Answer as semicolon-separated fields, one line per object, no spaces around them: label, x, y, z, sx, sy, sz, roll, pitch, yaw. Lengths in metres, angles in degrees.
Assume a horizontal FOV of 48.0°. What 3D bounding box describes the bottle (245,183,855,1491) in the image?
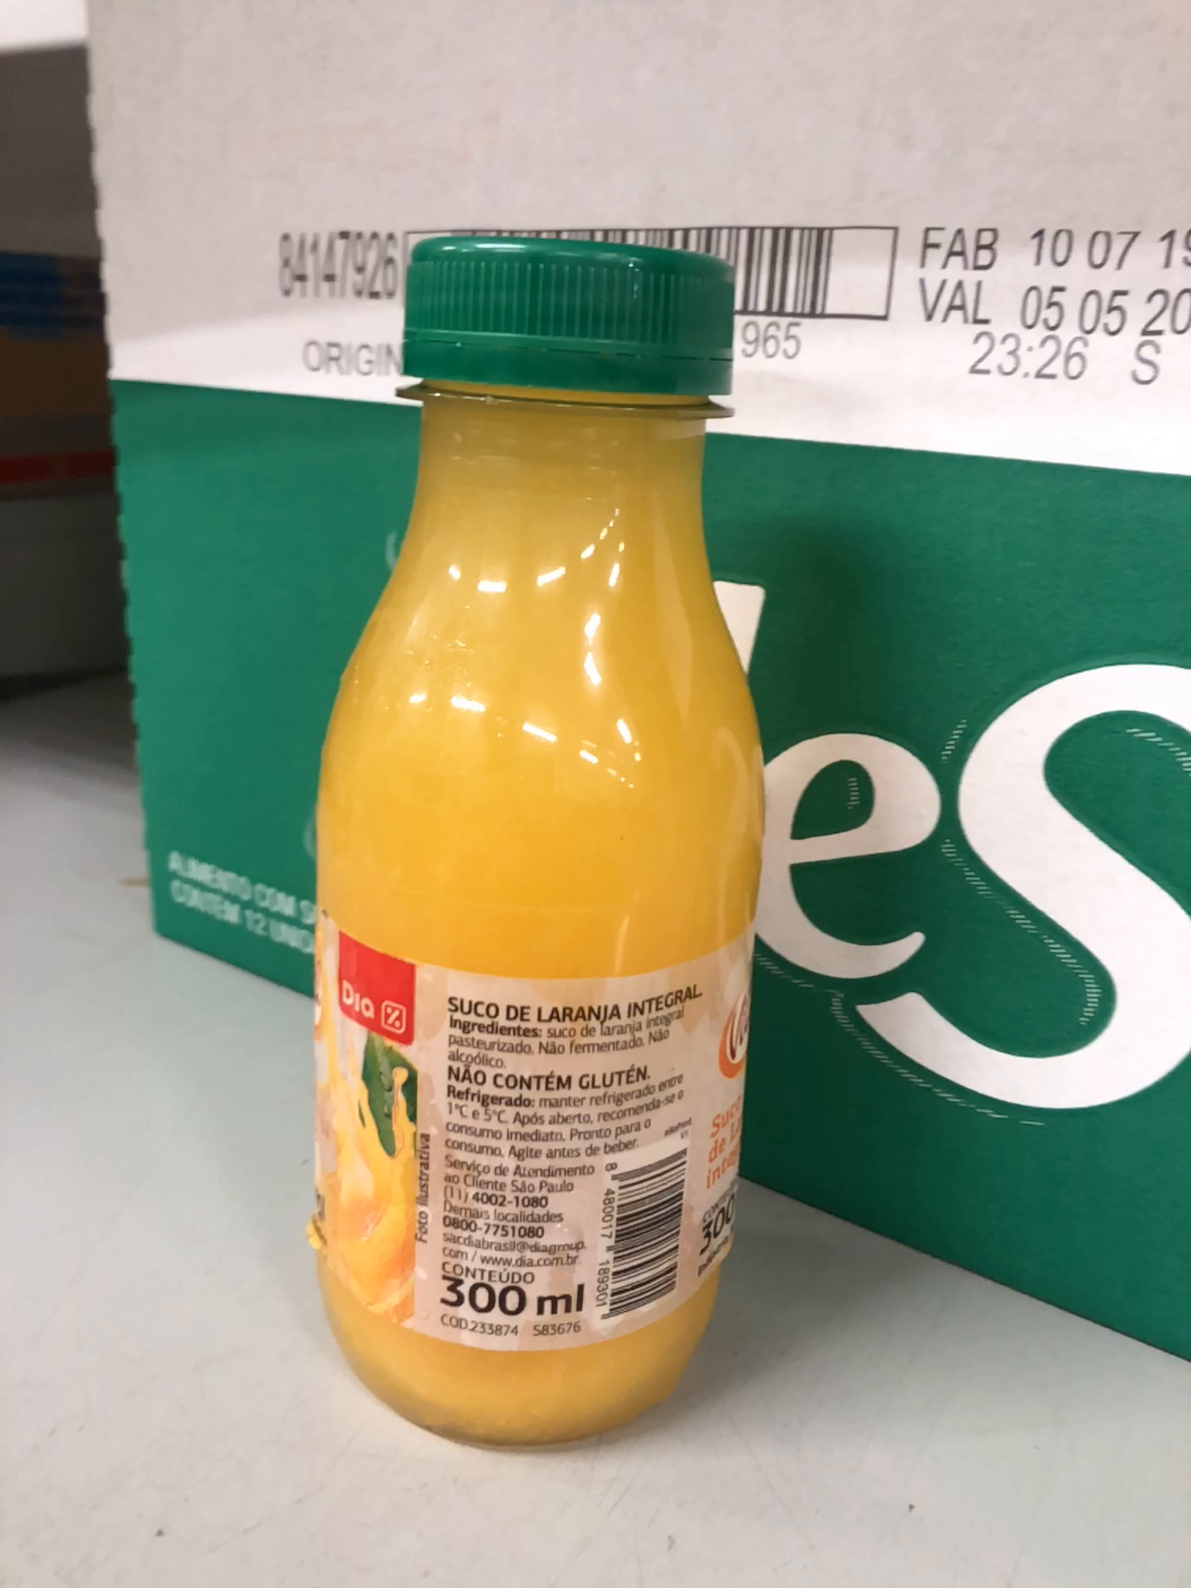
bottle;-0.013;0.003;0.194;0.060;0.159;0.070;-4;19;-18
